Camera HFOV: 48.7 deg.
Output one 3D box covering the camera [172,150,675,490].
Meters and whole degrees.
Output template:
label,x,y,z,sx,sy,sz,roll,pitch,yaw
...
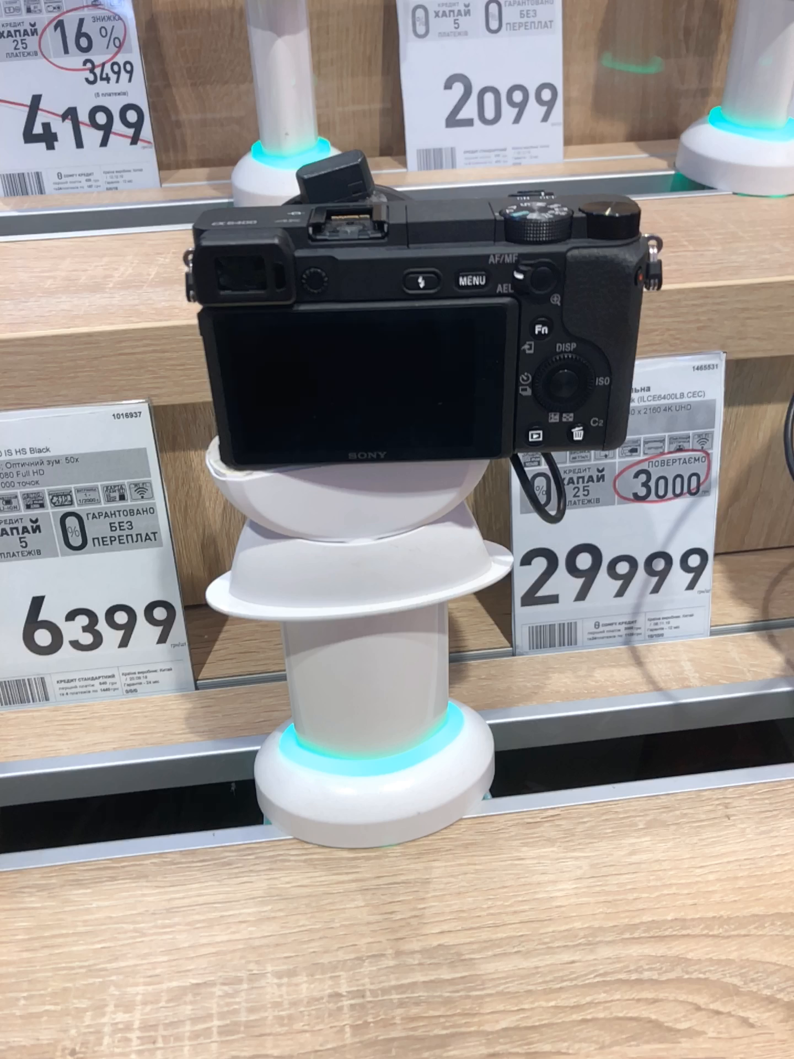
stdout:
label,x,y,z,sx,sy,sz,roll,pitch,yaw
camera,0.007,-0.069,0.272,0.122,0.069,0.098,-2,33,0
